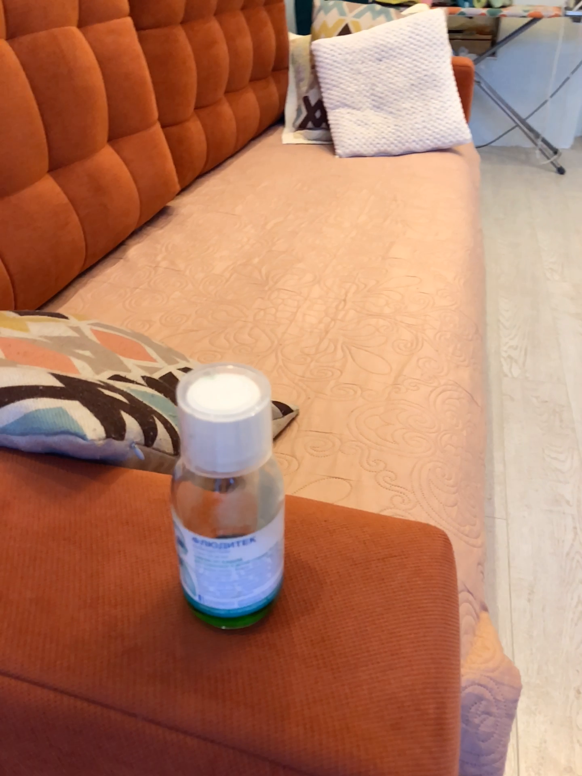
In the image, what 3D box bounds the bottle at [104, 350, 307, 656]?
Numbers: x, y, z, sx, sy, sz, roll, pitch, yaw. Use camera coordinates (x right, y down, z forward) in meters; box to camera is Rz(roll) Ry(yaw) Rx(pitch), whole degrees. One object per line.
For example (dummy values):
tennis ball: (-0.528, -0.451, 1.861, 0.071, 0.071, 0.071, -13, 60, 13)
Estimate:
bottle: (-0.029, 0.048, 0.268, 0.060, 0.106, 0.060, 0, 33, 0)
